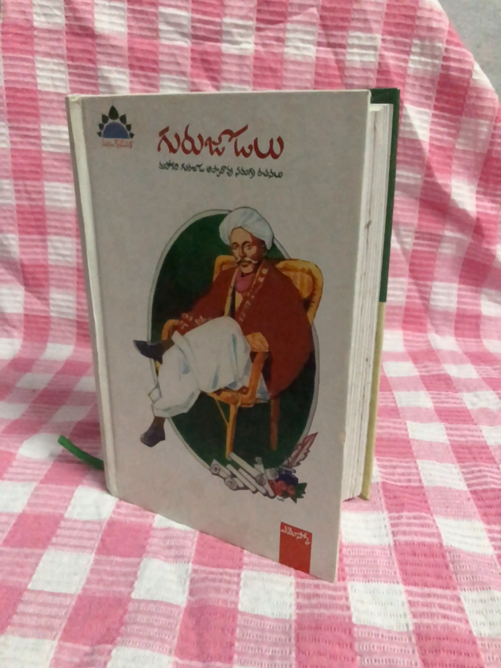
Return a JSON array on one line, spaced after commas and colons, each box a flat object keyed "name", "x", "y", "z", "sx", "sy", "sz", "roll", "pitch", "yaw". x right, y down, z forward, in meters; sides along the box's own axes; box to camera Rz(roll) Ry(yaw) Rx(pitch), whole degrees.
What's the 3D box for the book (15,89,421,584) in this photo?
[{"name": "book", "x": -0.015, "y": -0.008, "z": 0.279, "sx": 0.160, "sy": 0.209, "sz": 0.070, "roll": 11, "pitch": 26, "yaw": 26}]
